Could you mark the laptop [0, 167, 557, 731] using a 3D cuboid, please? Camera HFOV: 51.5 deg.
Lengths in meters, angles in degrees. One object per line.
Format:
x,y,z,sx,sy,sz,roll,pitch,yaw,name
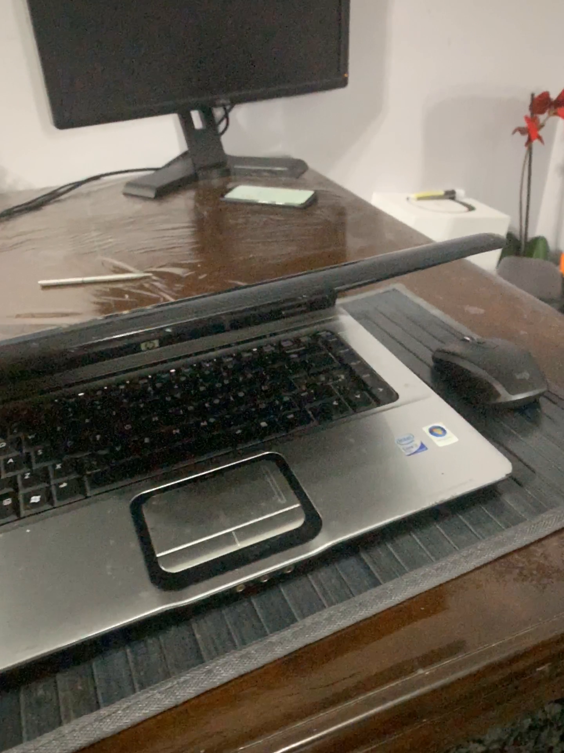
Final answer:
-0.061,-0.015,0.354,0.343,0.108,0.245,-15,38,-21,laptop
